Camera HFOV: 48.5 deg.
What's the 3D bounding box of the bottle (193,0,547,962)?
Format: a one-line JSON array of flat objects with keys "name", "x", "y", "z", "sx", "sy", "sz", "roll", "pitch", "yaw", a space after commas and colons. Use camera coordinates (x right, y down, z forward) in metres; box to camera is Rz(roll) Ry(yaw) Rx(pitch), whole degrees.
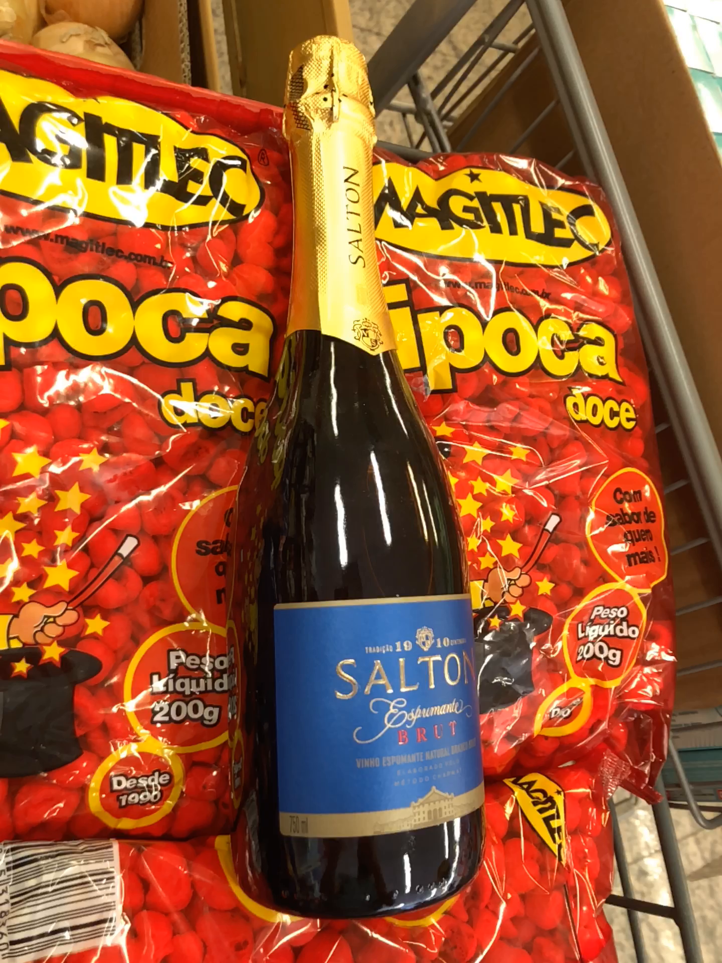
[{"name": "bottle", "x": -0.002, "y": -0.020, "z": 0.282, "sx": 0.090, "sy": 0.080, "sz": 0.310, "roll": 2, "pitch": 84, "yaw": -31}]
